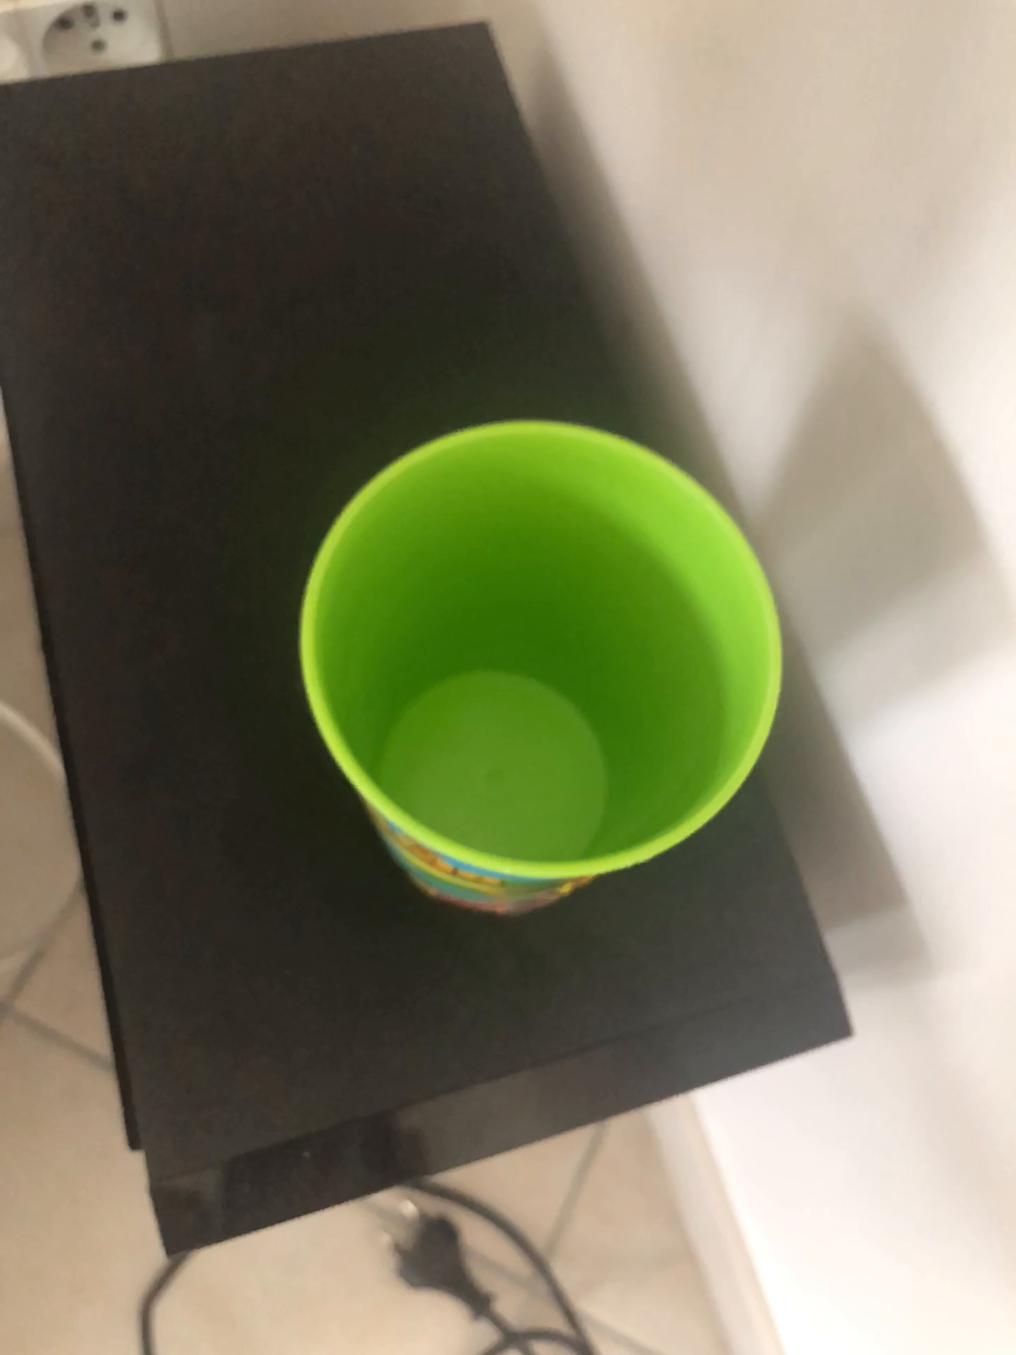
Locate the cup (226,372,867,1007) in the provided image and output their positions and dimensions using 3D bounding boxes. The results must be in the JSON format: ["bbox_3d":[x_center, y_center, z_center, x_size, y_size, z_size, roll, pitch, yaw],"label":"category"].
[{"bbox_3d":[0.001,0.008,0.226,0.080,0.090,0.080,2,70,-6],"label":"cup"}]
